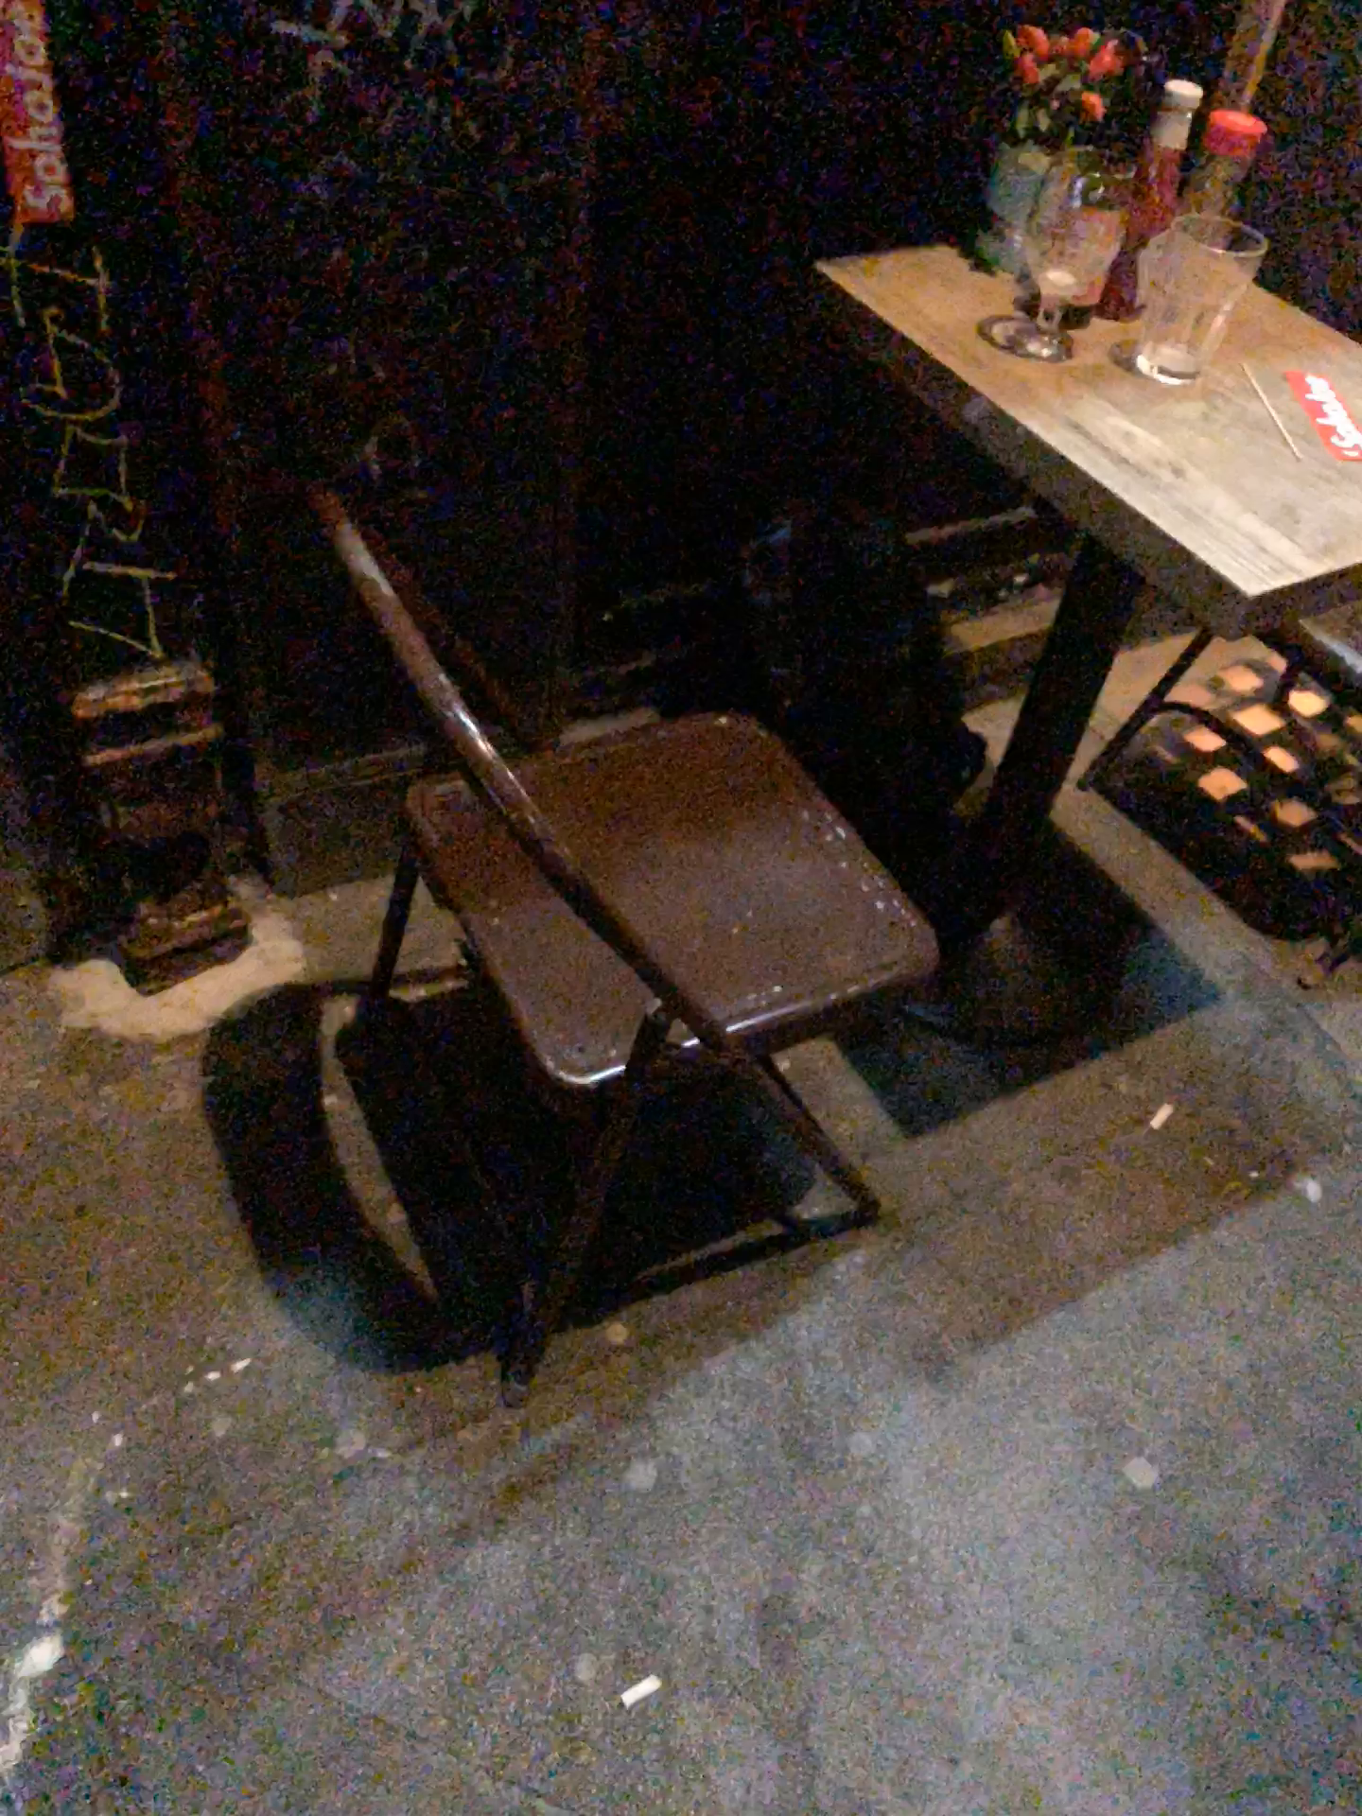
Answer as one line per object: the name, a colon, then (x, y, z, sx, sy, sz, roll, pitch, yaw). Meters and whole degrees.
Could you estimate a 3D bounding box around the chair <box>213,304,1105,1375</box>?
chair: (-0.072, -0.065, 1.253, 0.481, 0.723, 0.494, -15, 47, -24)
